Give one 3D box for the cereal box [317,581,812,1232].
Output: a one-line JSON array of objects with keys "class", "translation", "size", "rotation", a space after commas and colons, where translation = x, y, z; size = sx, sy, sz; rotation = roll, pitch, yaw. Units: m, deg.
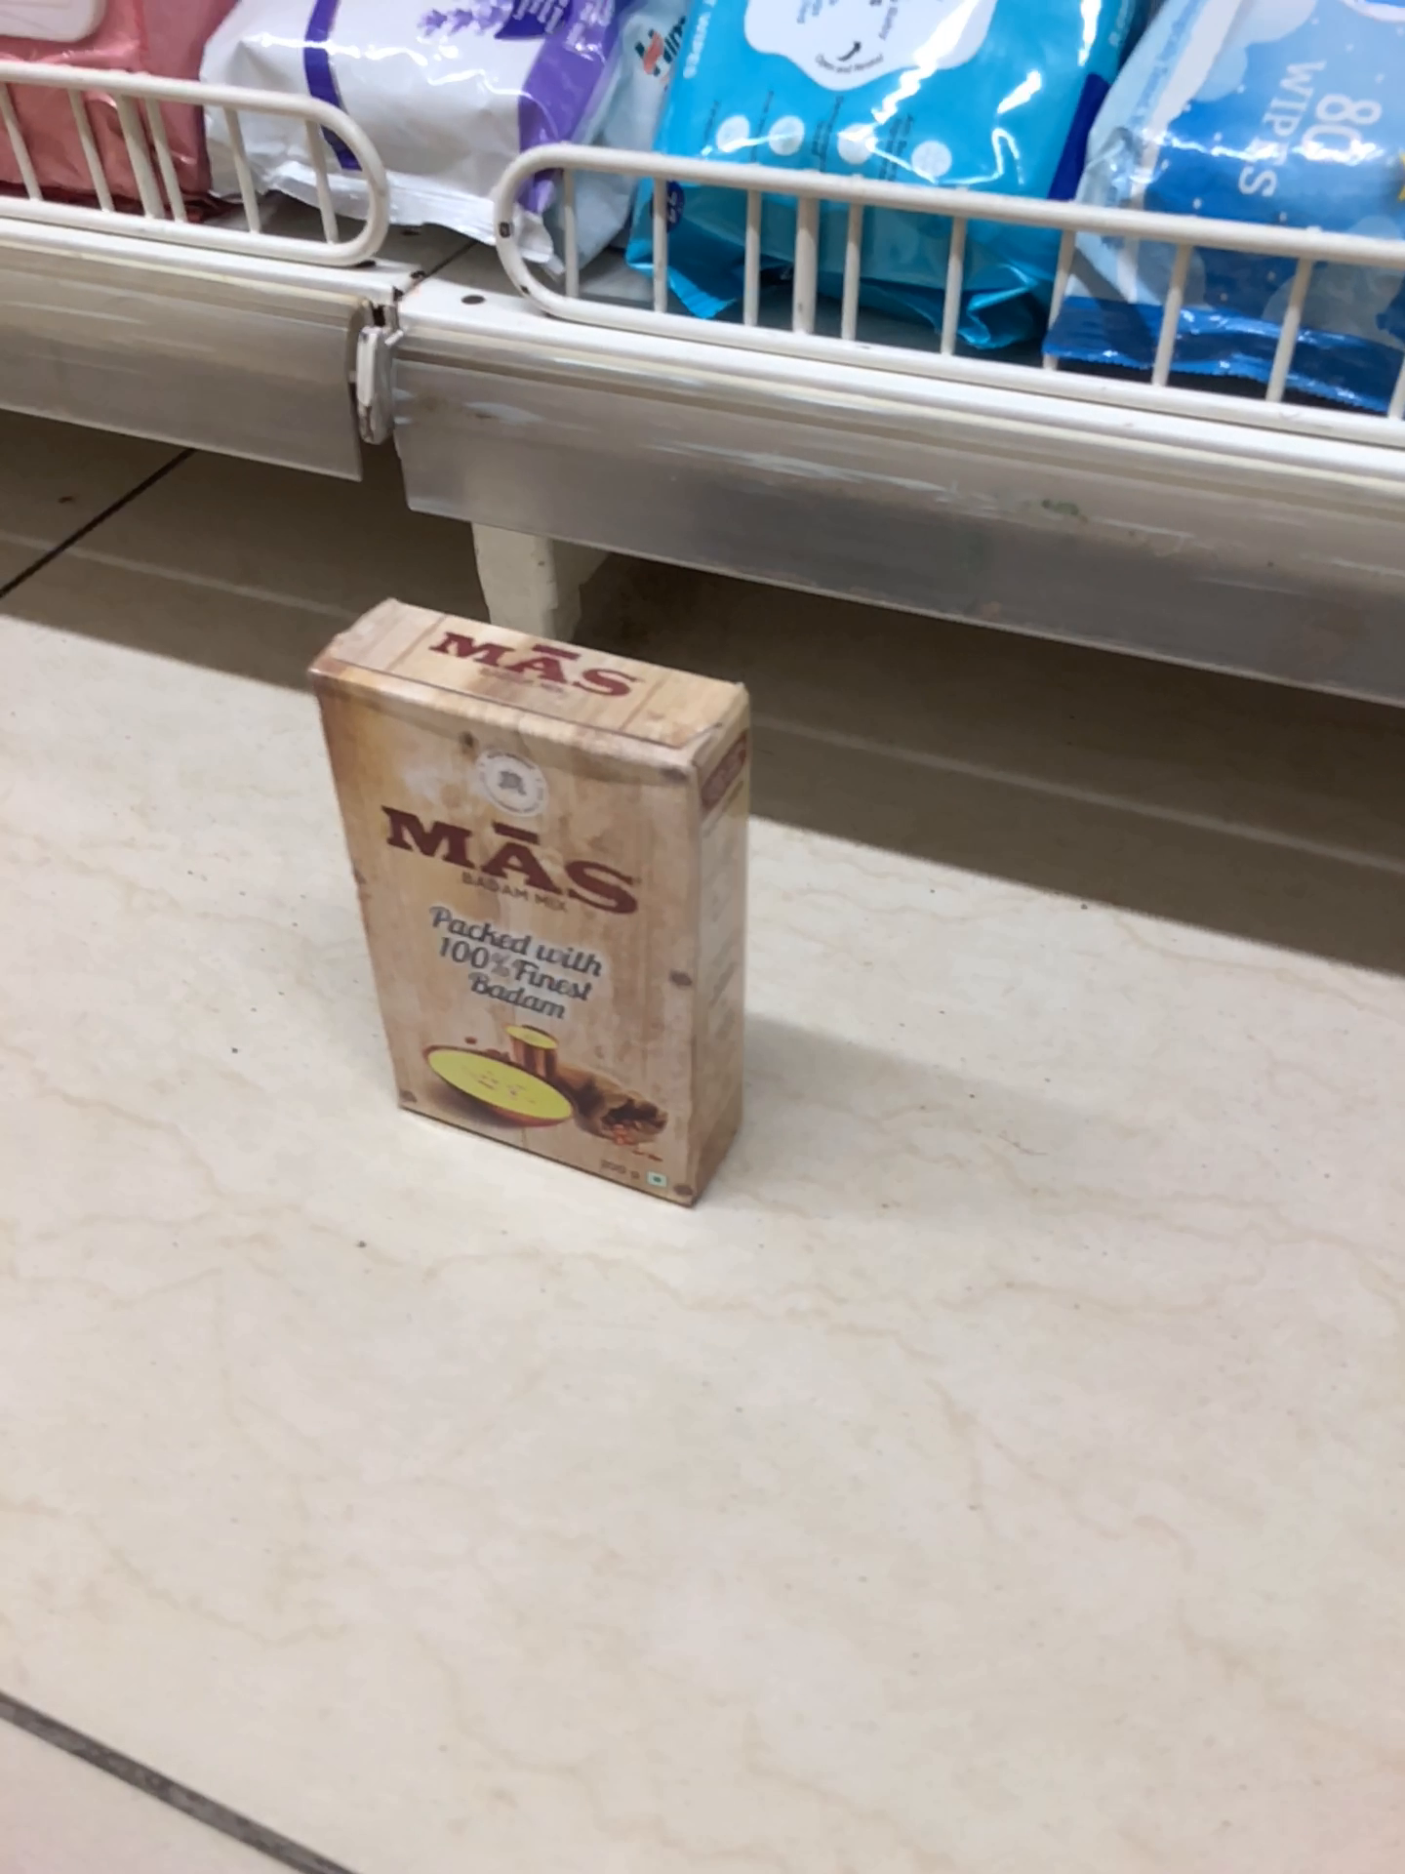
[{"class": "cereal box", "translation": [-0.028, -0.004, 0.350], "size": [0.090, 0.129, 0.040], "rotation": [17, 44, 18]}]
